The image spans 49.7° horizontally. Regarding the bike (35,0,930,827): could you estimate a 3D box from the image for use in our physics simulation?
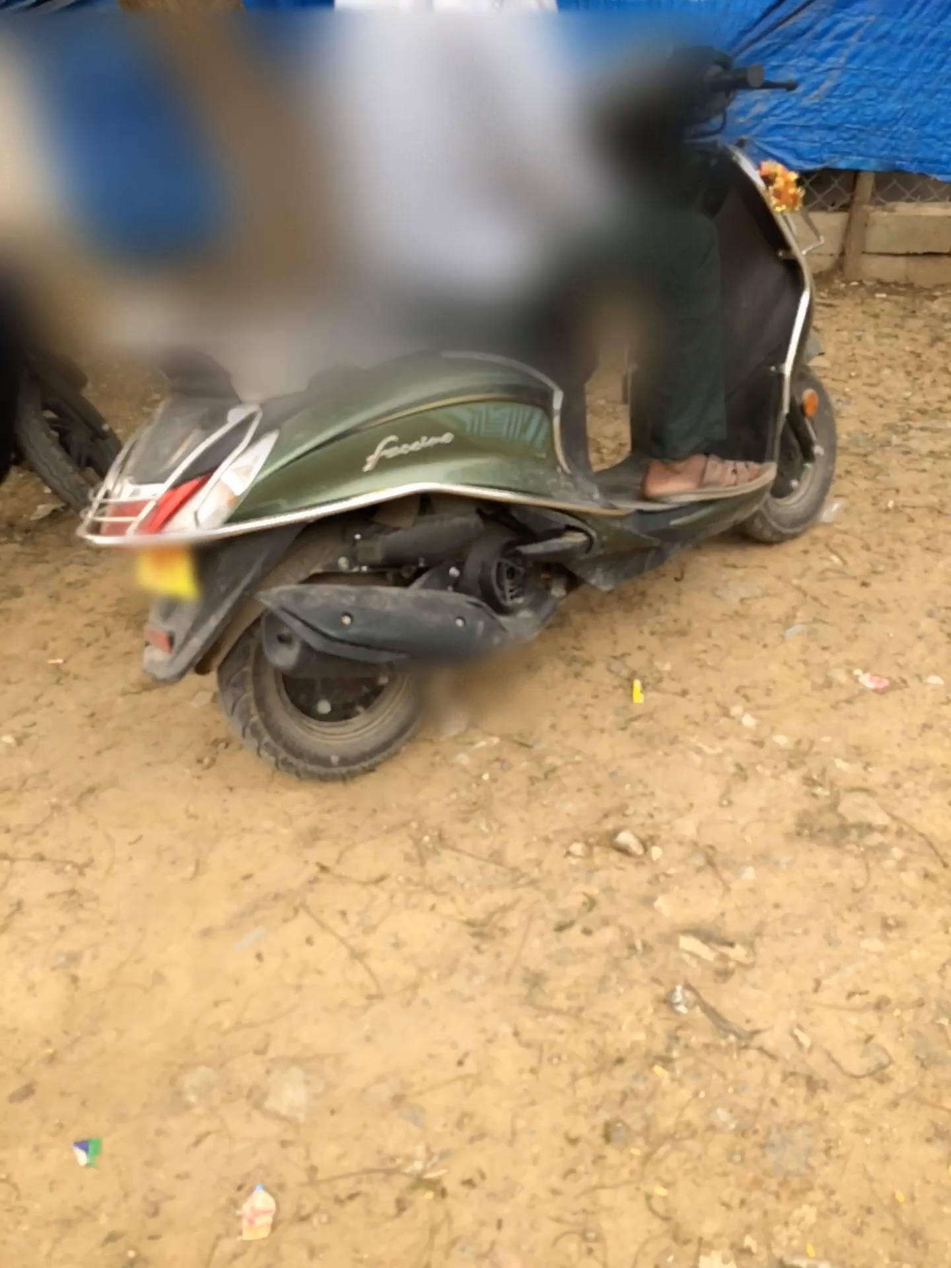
[{"bbox_3d":[0.128,-0.638,2.108,1.728,1.054,0.623,-28,39,-34],"label":"bike"}]
